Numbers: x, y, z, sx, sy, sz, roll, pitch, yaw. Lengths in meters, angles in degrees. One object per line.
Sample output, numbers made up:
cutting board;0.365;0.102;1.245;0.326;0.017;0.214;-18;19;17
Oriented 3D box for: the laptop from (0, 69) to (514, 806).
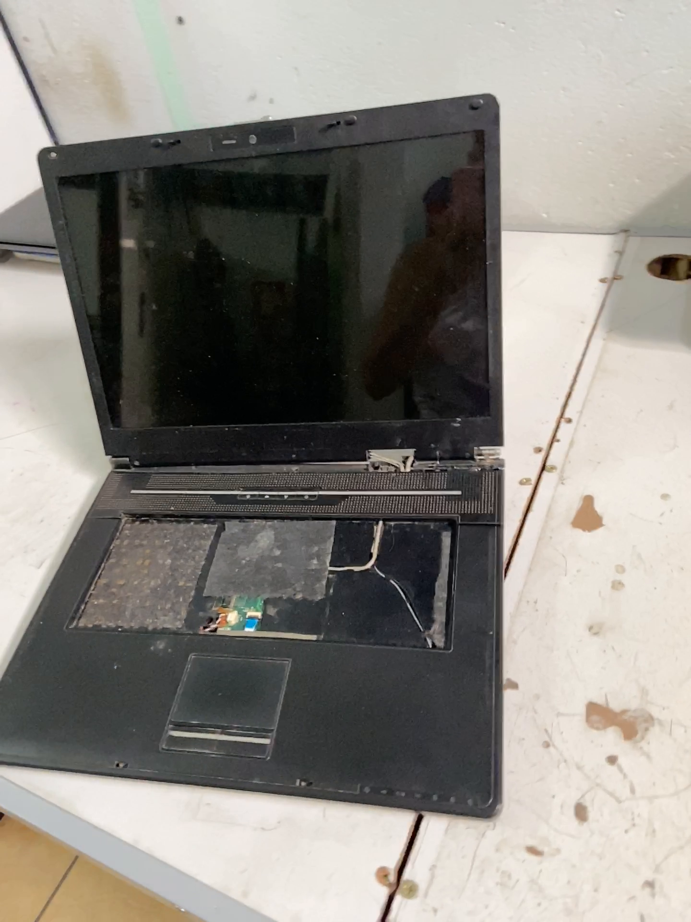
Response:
laptop;-0.070;-0.034;0.474;0.344;0.235;0.381;-1;46;15
